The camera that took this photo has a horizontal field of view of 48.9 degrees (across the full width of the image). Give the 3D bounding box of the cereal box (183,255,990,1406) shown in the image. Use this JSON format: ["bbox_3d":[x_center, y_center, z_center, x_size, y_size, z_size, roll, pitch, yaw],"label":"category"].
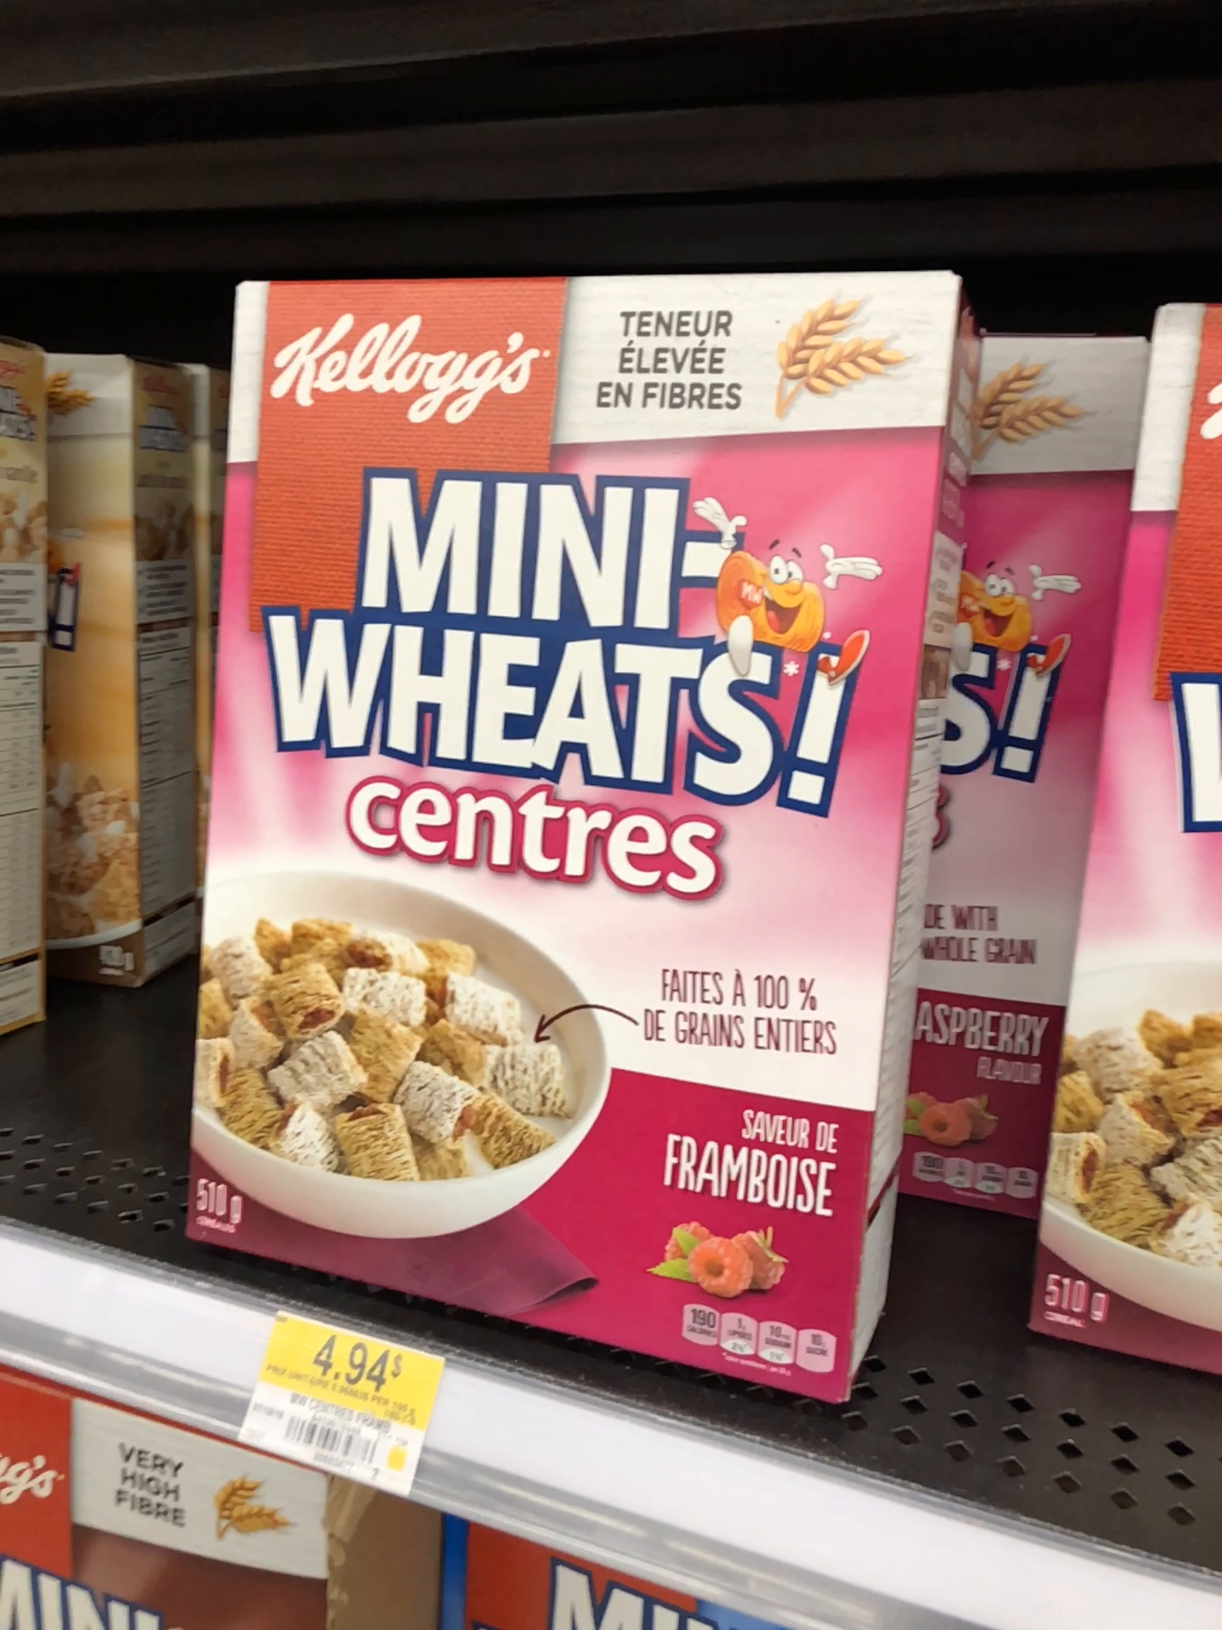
[{"bbox_3d":[-0.011,-0.004,0.364,0.190,0.259,0.070,6,7,19],"label":"cereal box"}]
